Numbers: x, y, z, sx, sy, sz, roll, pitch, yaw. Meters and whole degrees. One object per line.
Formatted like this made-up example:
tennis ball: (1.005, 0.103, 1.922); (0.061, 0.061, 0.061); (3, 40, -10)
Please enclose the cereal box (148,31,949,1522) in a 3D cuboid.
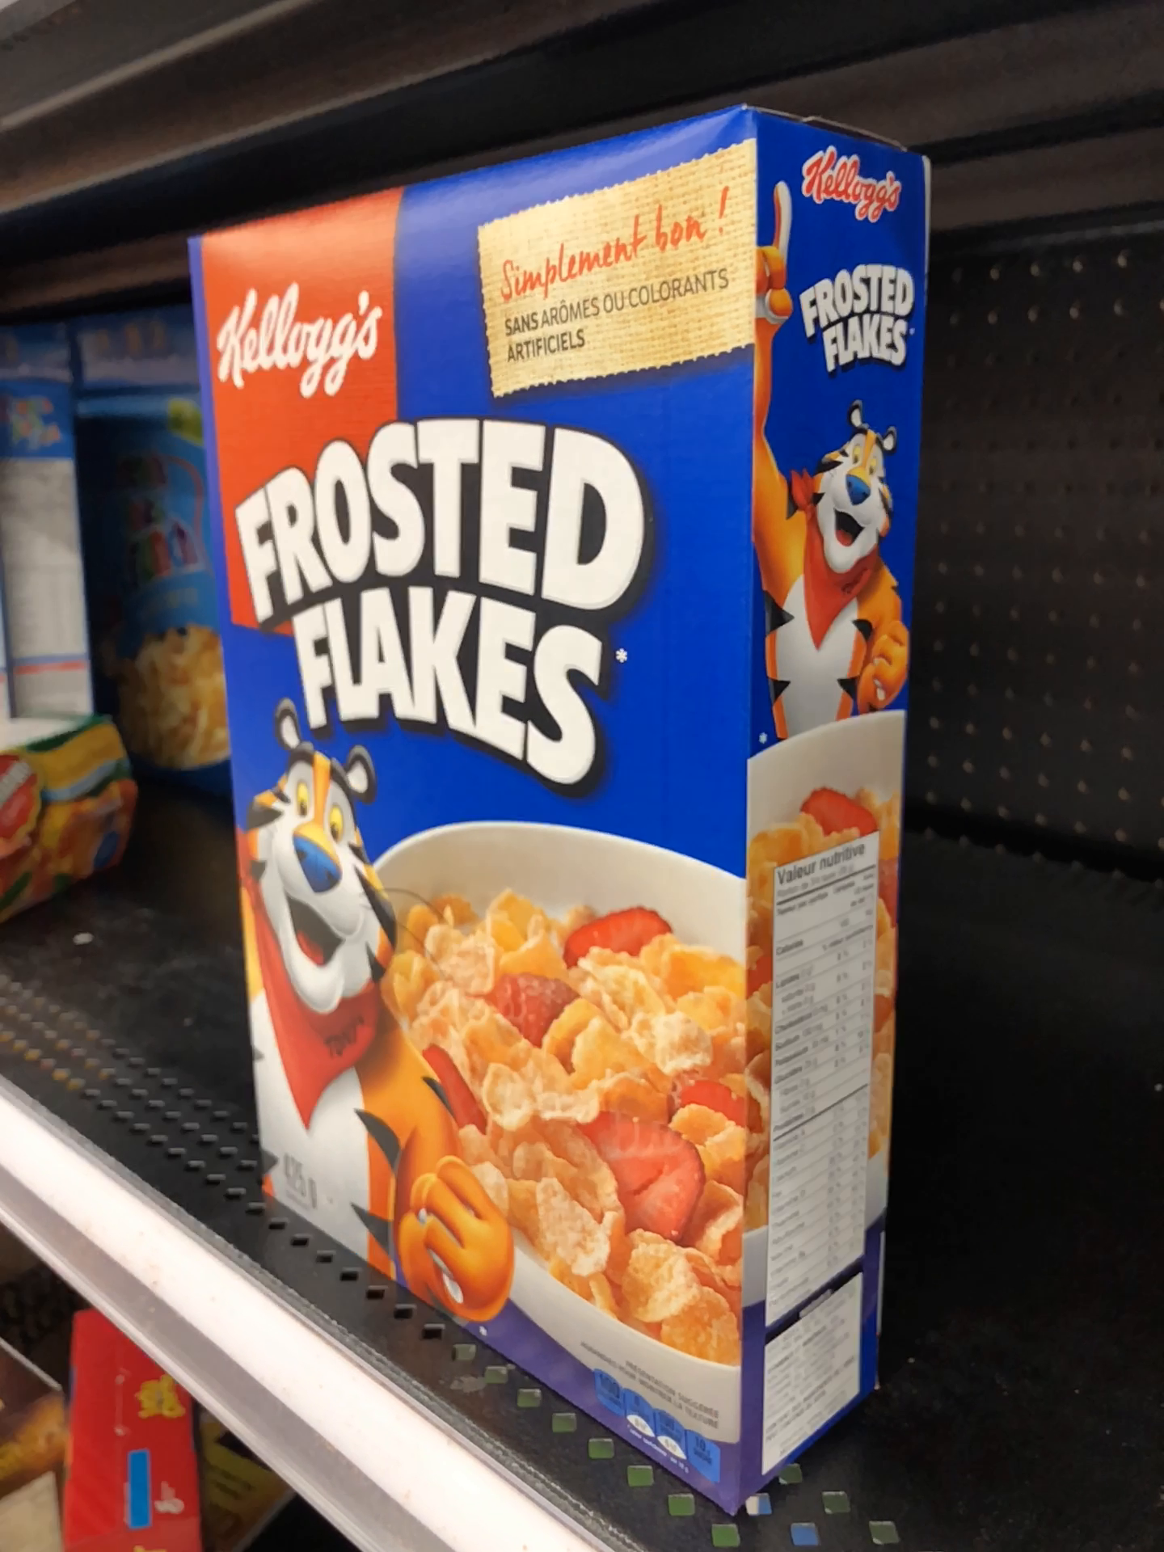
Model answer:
cereal box: (-0.022, -0.004, 0.339); (0.210, 0.289, 0.060); (12, 18, 43)
